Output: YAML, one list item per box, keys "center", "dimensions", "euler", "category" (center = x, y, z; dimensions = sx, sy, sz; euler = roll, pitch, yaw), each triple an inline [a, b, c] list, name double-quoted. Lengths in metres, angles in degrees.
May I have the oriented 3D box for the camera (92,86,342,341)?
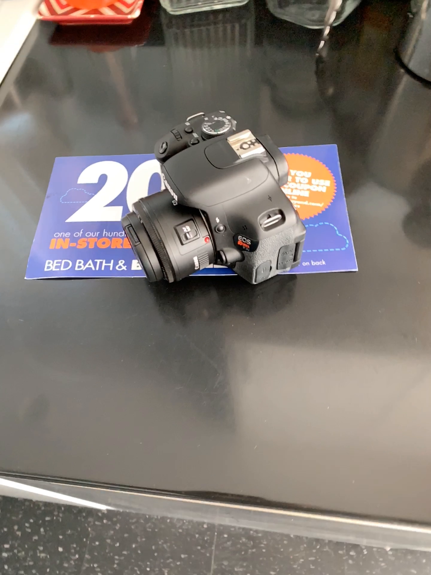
- center: [-0.002, -0.060, 0.345]
  dimensions: [0.124, 0.085, 0.140]
  euler: [-26, 61, -10]
  category: "camera"
